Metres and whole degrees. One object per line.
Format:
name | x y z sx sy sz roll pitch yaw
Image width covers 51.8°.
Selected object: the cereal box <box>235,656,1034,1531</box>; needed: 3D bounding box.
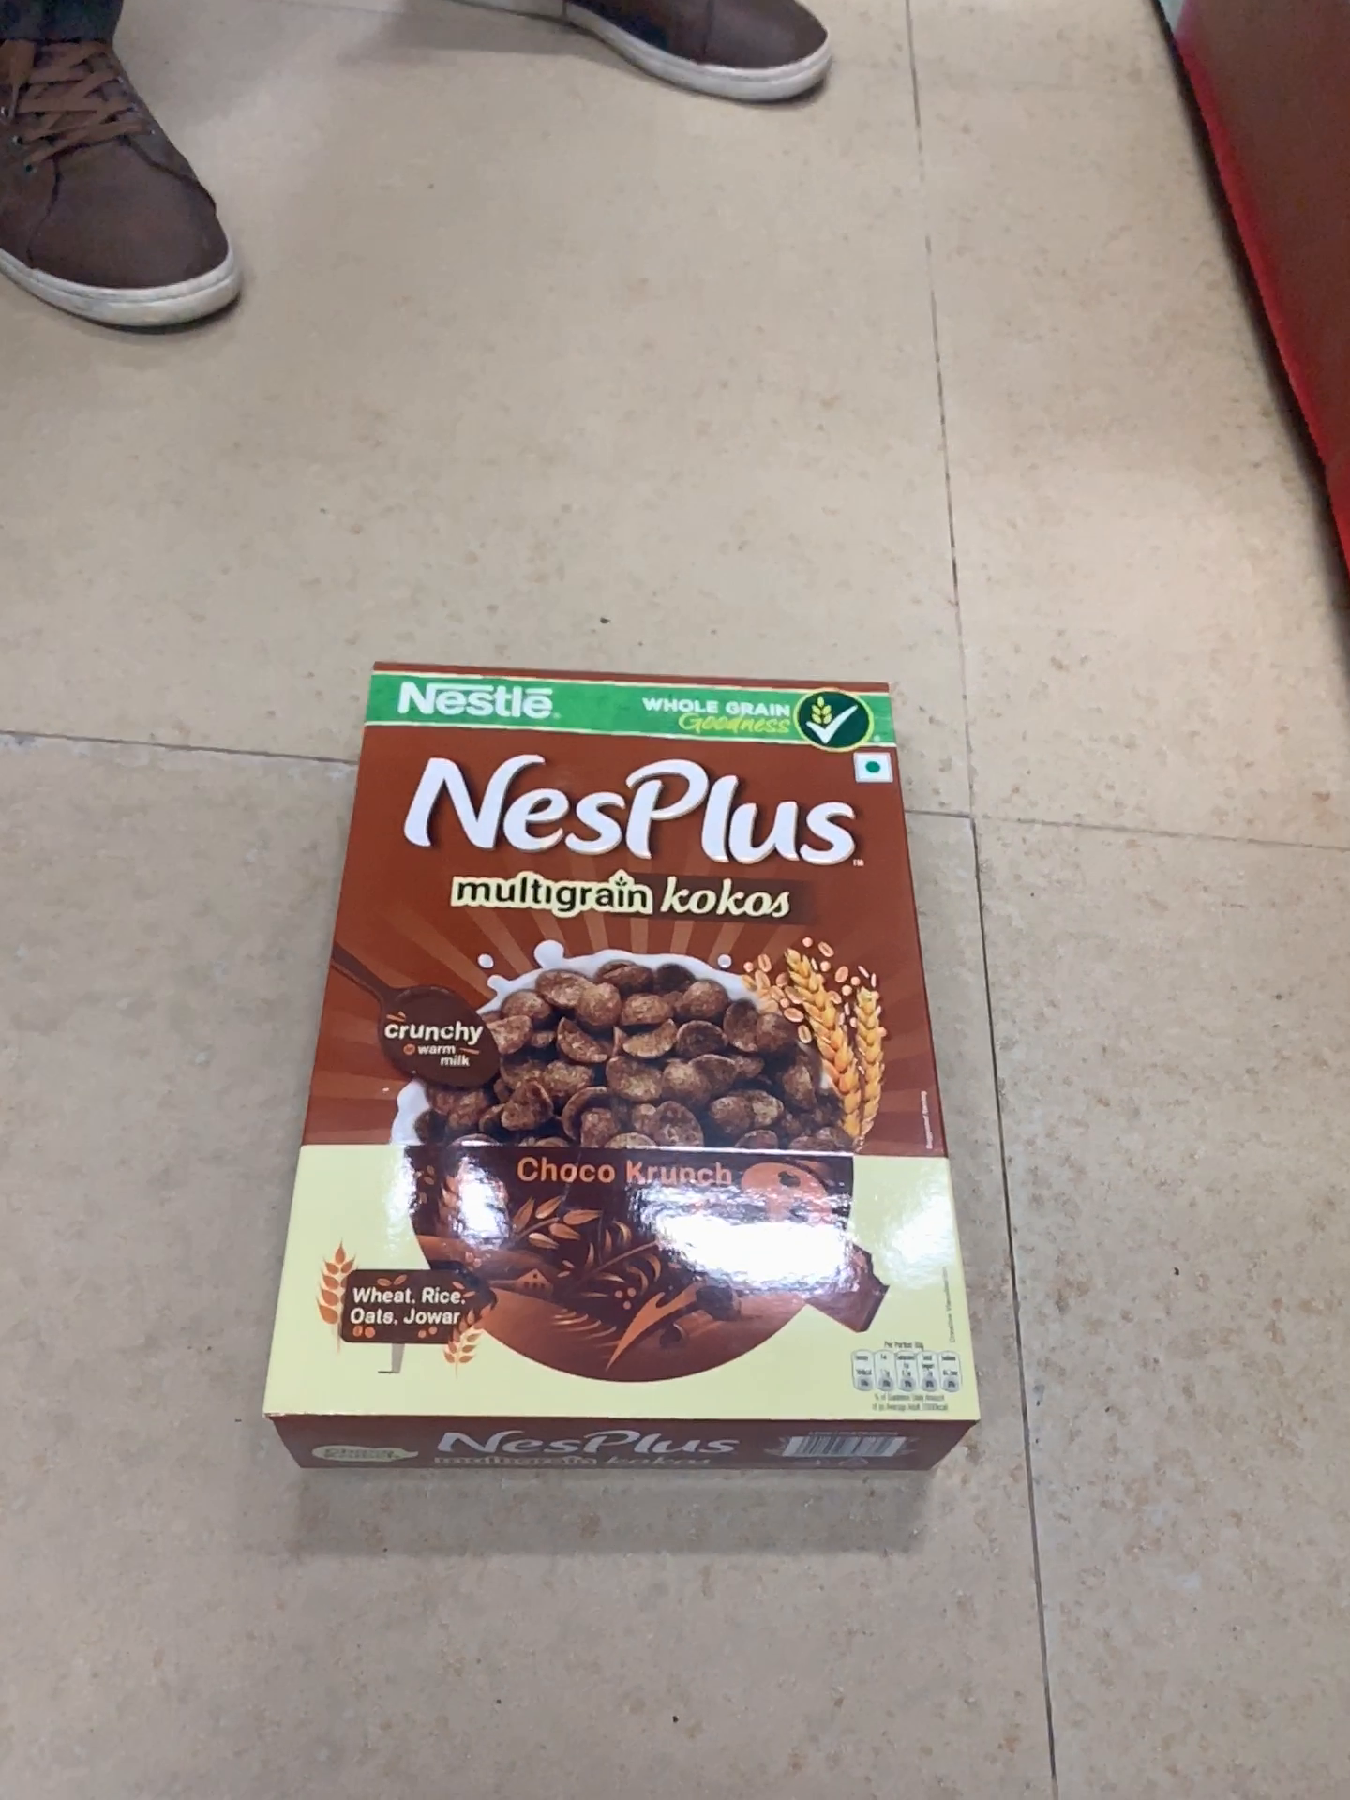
cereal box | -0.012 0.057 0.479 0.210 0.090 0.281 2 57 -4
